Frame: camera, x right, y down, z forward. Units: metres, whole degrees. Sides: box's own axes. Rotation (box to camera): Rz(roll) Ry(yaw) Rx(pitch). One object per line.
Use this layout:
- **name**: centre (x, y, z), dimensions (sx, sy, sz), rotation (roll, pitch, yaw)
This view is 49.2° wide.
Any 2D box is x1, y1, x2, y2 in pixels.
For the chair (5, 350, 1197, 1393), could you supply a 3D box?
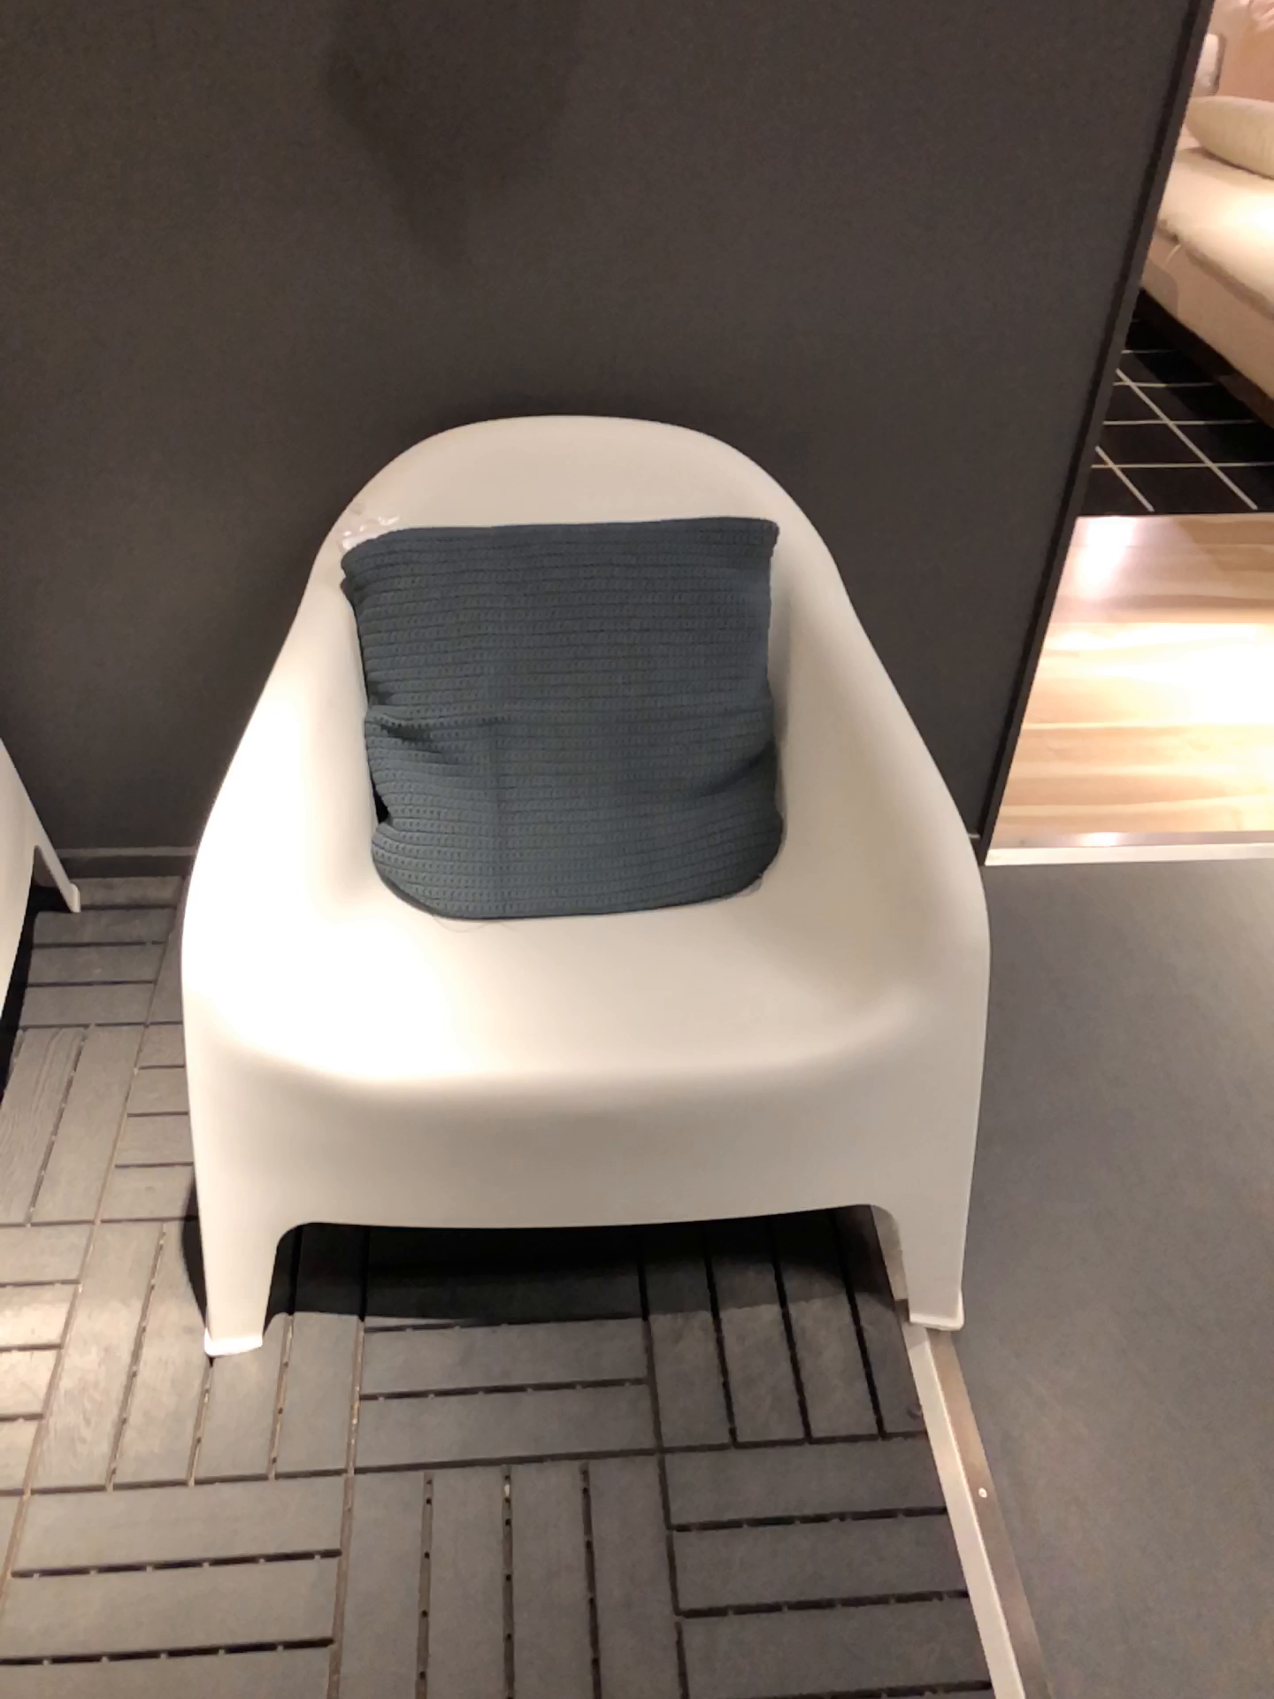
- **chair**: centre (-0.068, -0.015, 1.504), dimensions (0.830, 0.765, 0.785), rotation (-2, 39, -7)
